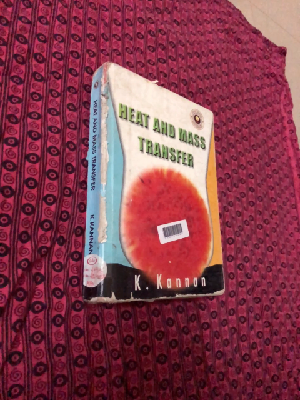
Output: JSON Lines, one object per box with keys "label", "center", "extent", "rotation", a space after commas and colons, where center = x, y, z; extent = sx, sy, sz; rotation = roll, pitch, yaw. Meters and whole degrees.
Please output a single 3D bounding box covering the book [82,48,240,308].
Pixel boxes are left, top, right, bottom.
{"label": "book", "center": [0.020, -0.014, 0.377], "extent": [0.186, 0.039, 0.249], "rotation": [12, 71, -39]}
